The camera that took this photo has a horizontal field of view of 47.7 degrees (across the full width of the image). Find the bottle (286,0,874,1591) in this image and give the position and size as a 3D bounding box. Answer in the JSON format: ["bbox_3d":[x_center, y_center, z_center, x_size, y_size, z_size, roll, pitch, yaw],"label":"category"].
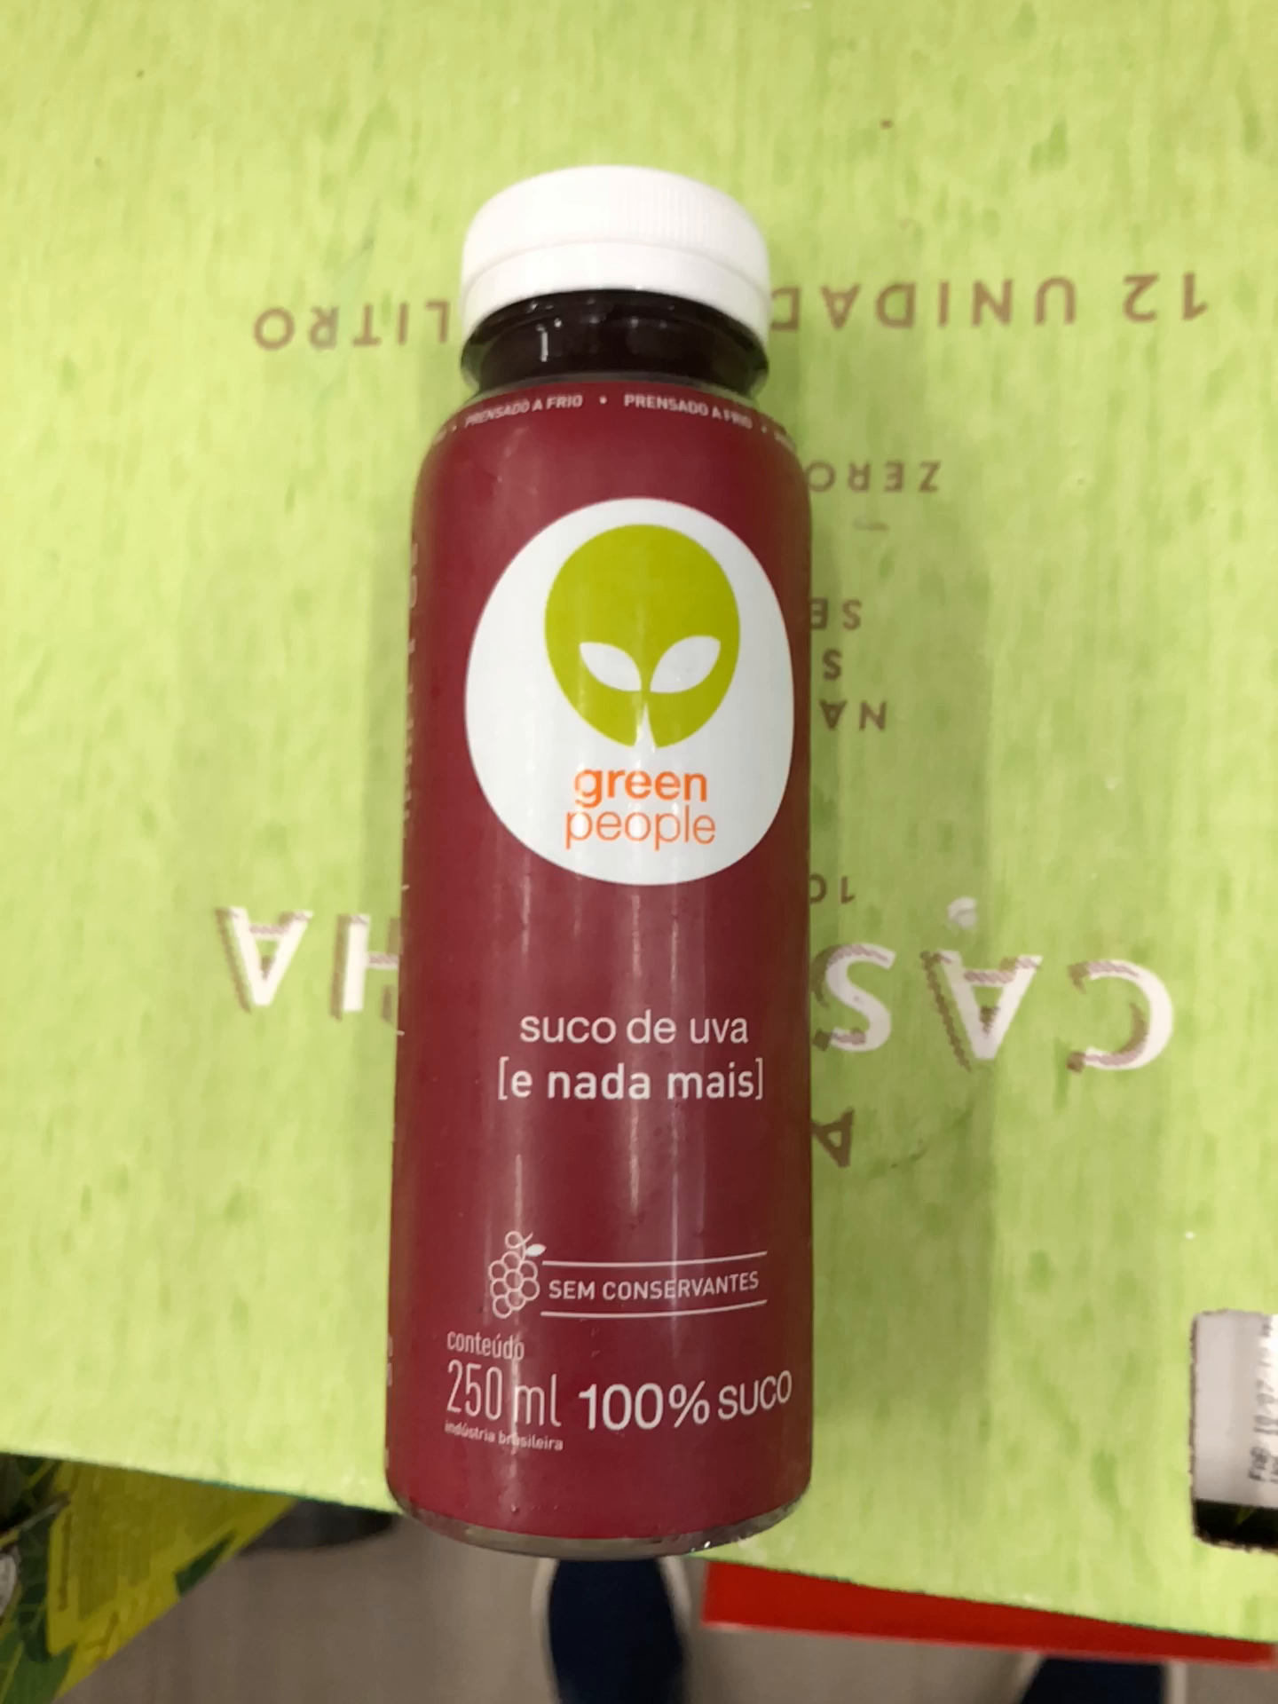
[{"bbox_3d":[-0.010,-0.007,0.187,0.060,0.060,0.170,2,86,-11],"label":"bottle"}]
